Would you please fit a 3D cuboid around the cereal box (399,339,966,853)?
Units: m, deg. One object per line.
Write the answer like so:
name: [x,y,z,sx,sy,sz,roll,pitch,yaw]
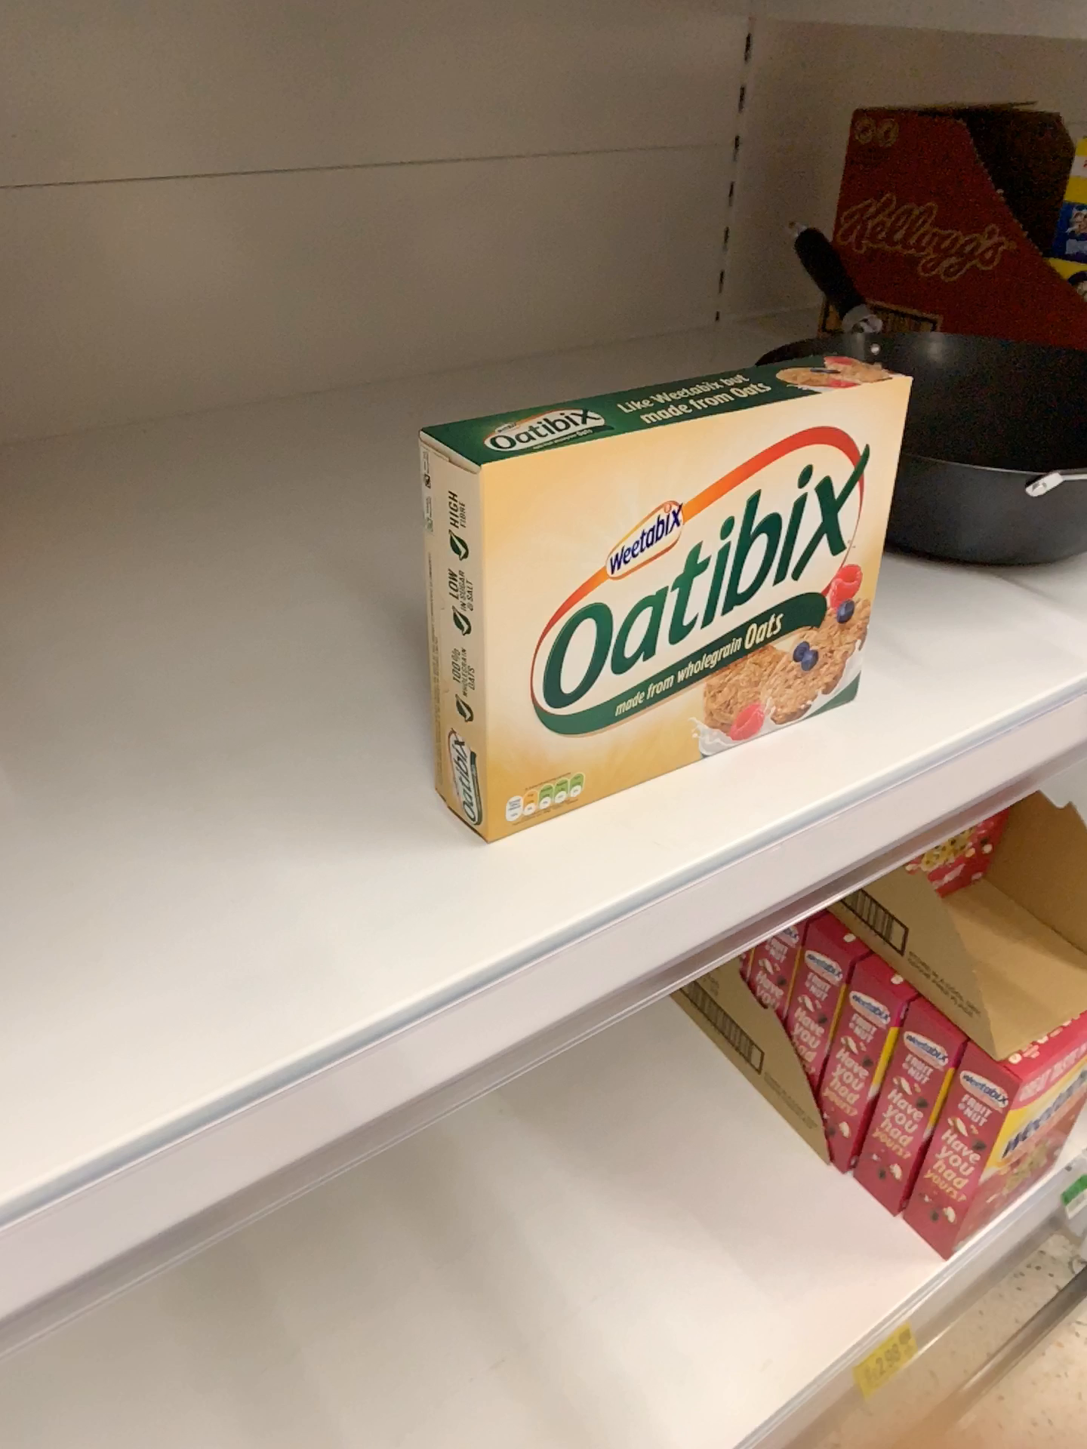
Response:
cereal box: [0.070,-0.072,0.545,0.271,0.178,0.070,-19,39,-29]
